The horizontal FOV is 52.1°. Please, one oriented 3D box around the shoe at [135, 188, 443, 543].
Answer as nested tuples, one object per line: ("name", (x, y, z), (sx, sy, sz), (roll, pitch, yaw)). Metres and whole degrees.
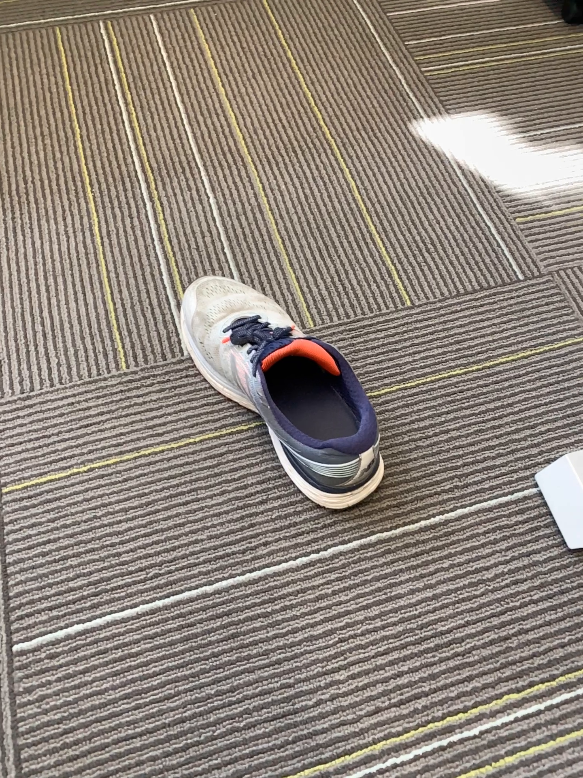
("shoe", (-0.015, -0.029, 0.548), (0.110, 0.110, 0.301), (-30, 66, -17))
